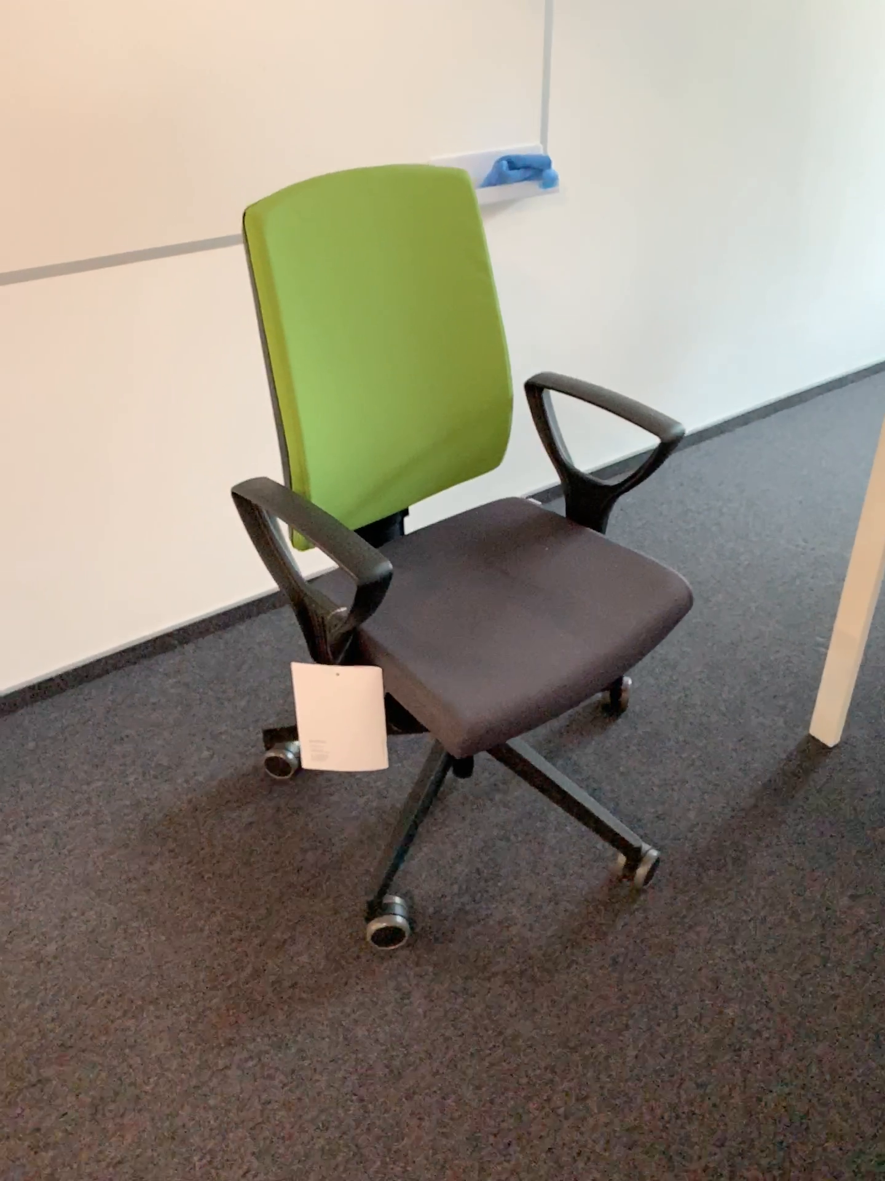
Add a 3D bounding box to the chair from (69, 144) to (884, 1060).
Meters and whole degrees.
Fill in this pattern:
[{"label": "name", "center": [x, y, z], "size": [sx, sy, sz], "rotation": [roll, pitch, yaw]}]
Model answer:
[{"label": "chair", "center": [0.065, -0.068, 1.387], "size": [0.763, 0.965, 0.732], "rotation": [-27, 42, -33]}]
